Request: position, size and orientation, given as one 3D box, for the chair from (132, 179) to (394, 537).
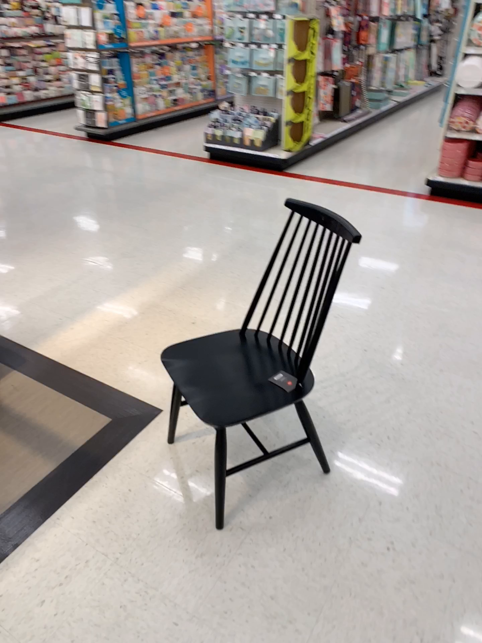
[{"bbox_3d":[0.035,0.105,1.629,0.551,0.945,0.532,-15,36,-22],"label":"chair"}]
